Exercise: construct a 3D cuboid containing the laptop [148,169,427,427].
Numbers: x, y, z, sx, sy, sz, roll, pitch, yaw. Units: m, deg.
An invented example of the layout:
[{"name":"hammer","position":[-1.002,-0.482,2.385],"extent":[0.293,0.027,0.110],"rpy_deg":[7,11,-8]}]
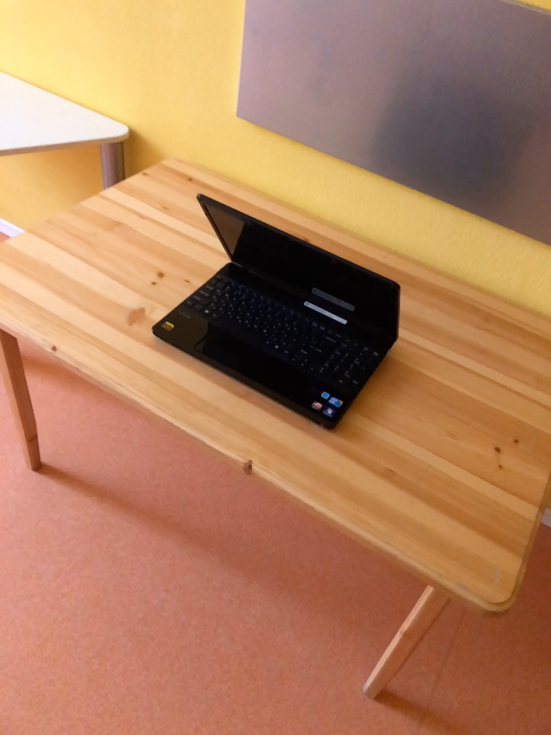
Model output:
[{"name":"laptop","position":[0.011,-0.130,1.009],"extent":[0.361,0.200,0.249],"rpy_deg":[28,48,18]}]
